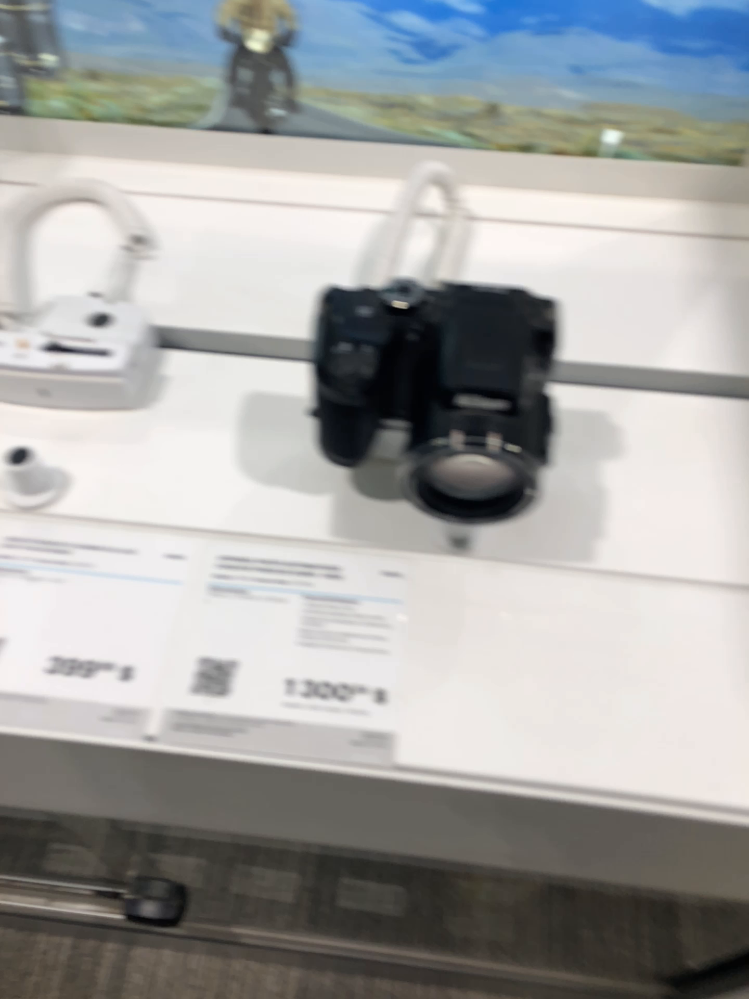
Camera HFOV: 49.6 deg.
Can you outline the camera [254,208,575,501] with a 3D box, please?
[{"bbox_3d":[0.018,-0.062,0.348,0.117,0.067,0.092,6,57,2],"label":"camera"}]
